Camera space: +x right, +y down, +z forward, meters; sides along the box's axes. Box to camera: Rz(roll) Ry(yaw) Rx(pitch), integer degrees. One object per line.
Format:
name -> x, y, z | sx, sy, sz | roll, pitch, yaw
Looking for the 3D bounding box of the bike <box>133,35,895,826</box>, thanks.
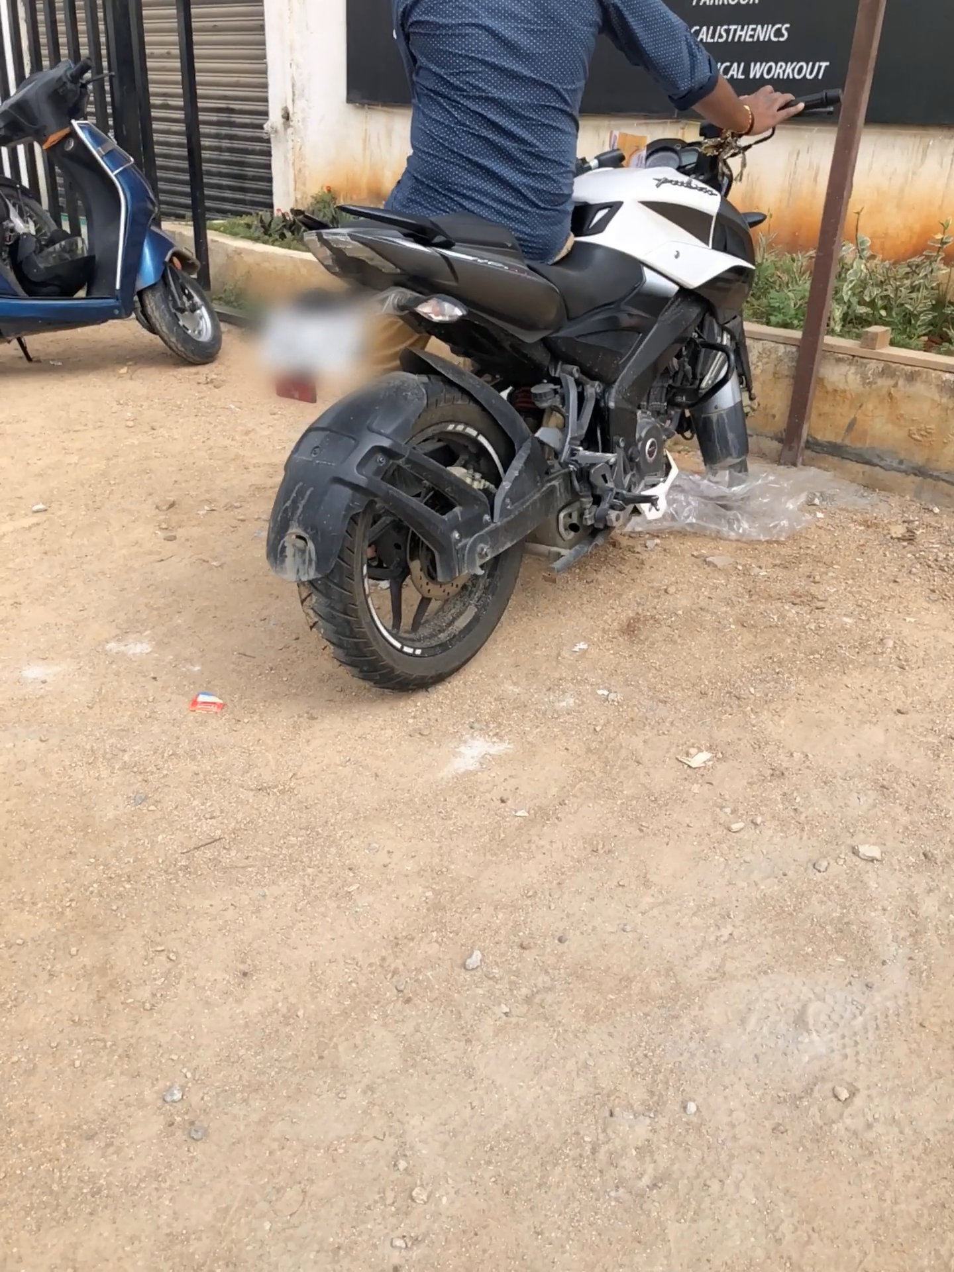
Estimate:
bike -> 0.242, -0.693, 2.360 | 0.778, 1.122, 1.861 | 16, 32, 25
